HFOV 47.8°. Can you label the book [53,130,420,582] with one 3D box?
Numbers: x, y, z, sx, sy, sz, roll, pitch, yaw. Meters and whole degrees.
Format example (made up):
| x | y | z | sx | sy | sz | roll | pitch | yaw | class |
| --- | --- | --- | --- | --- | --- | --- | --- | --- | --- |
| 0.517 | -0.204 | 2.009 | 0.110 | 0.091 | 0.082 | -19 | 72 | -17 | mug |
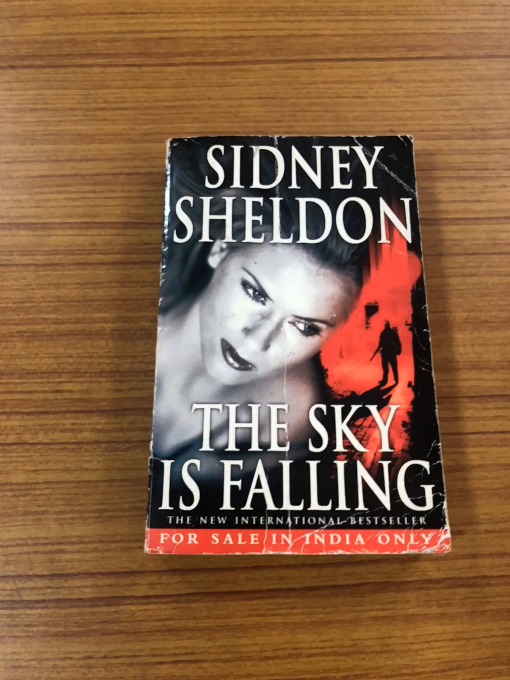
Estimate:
| x | y | z | sx | sy | sz | roll | pitch | yaw | class |
| --- | --- | --- | --- | --- | --- | --- | --- | --- | --- |
| -0.005 | 0.001 | 0.226 | 0.120 | 0.030 | 0.170 | 1 | 74 | -1 | book |
